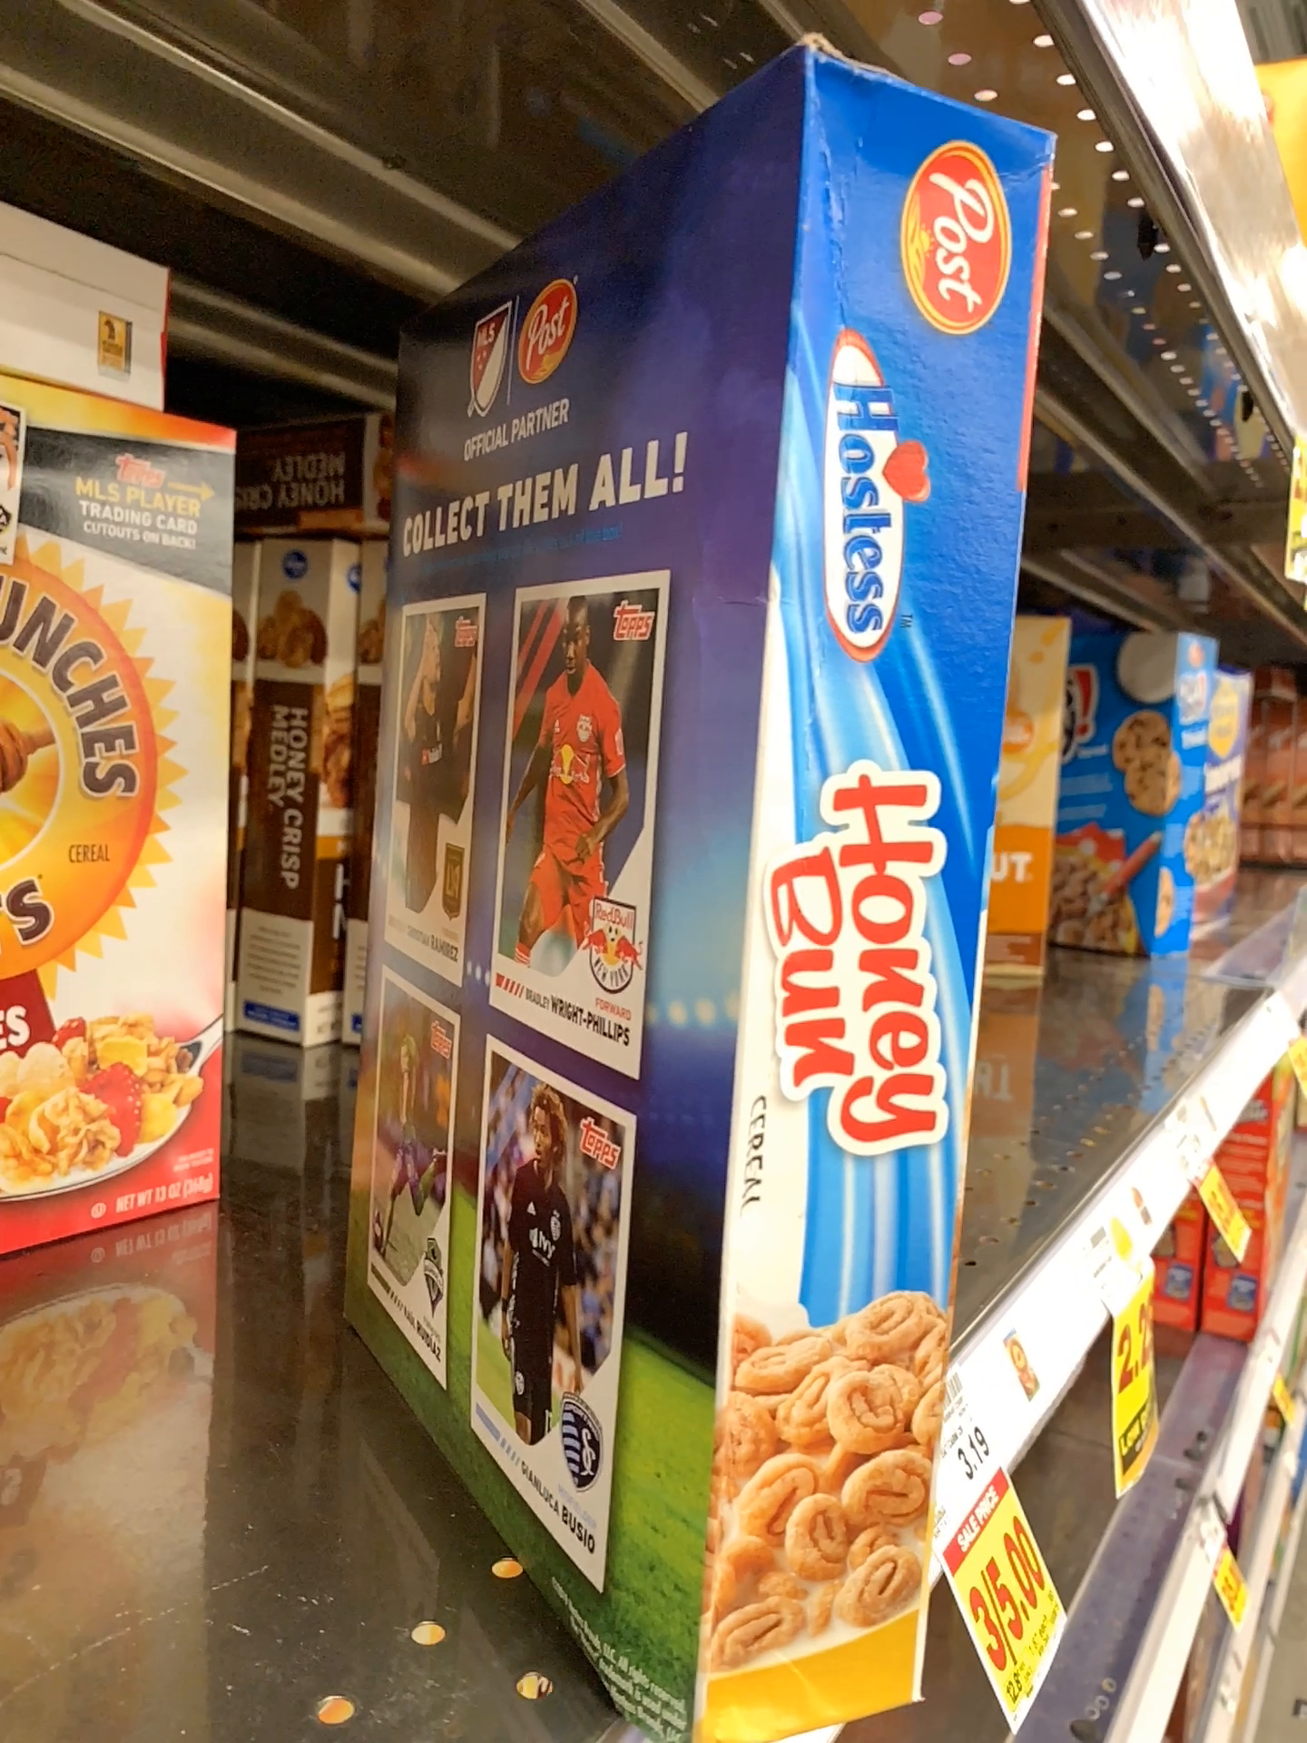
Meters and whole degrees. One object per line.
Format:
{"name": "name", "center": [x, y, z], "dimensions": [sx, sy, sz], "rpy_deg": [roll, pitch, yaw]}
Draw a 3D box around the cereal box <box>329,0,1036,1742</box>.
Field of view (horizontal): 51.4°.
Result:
{"name": "cereal box", "center": [-0.016, -0.004, 0.313], "dimensions": [0.060, 0.280, 0.200], "rpy_deg": [0, 6, -27]}
